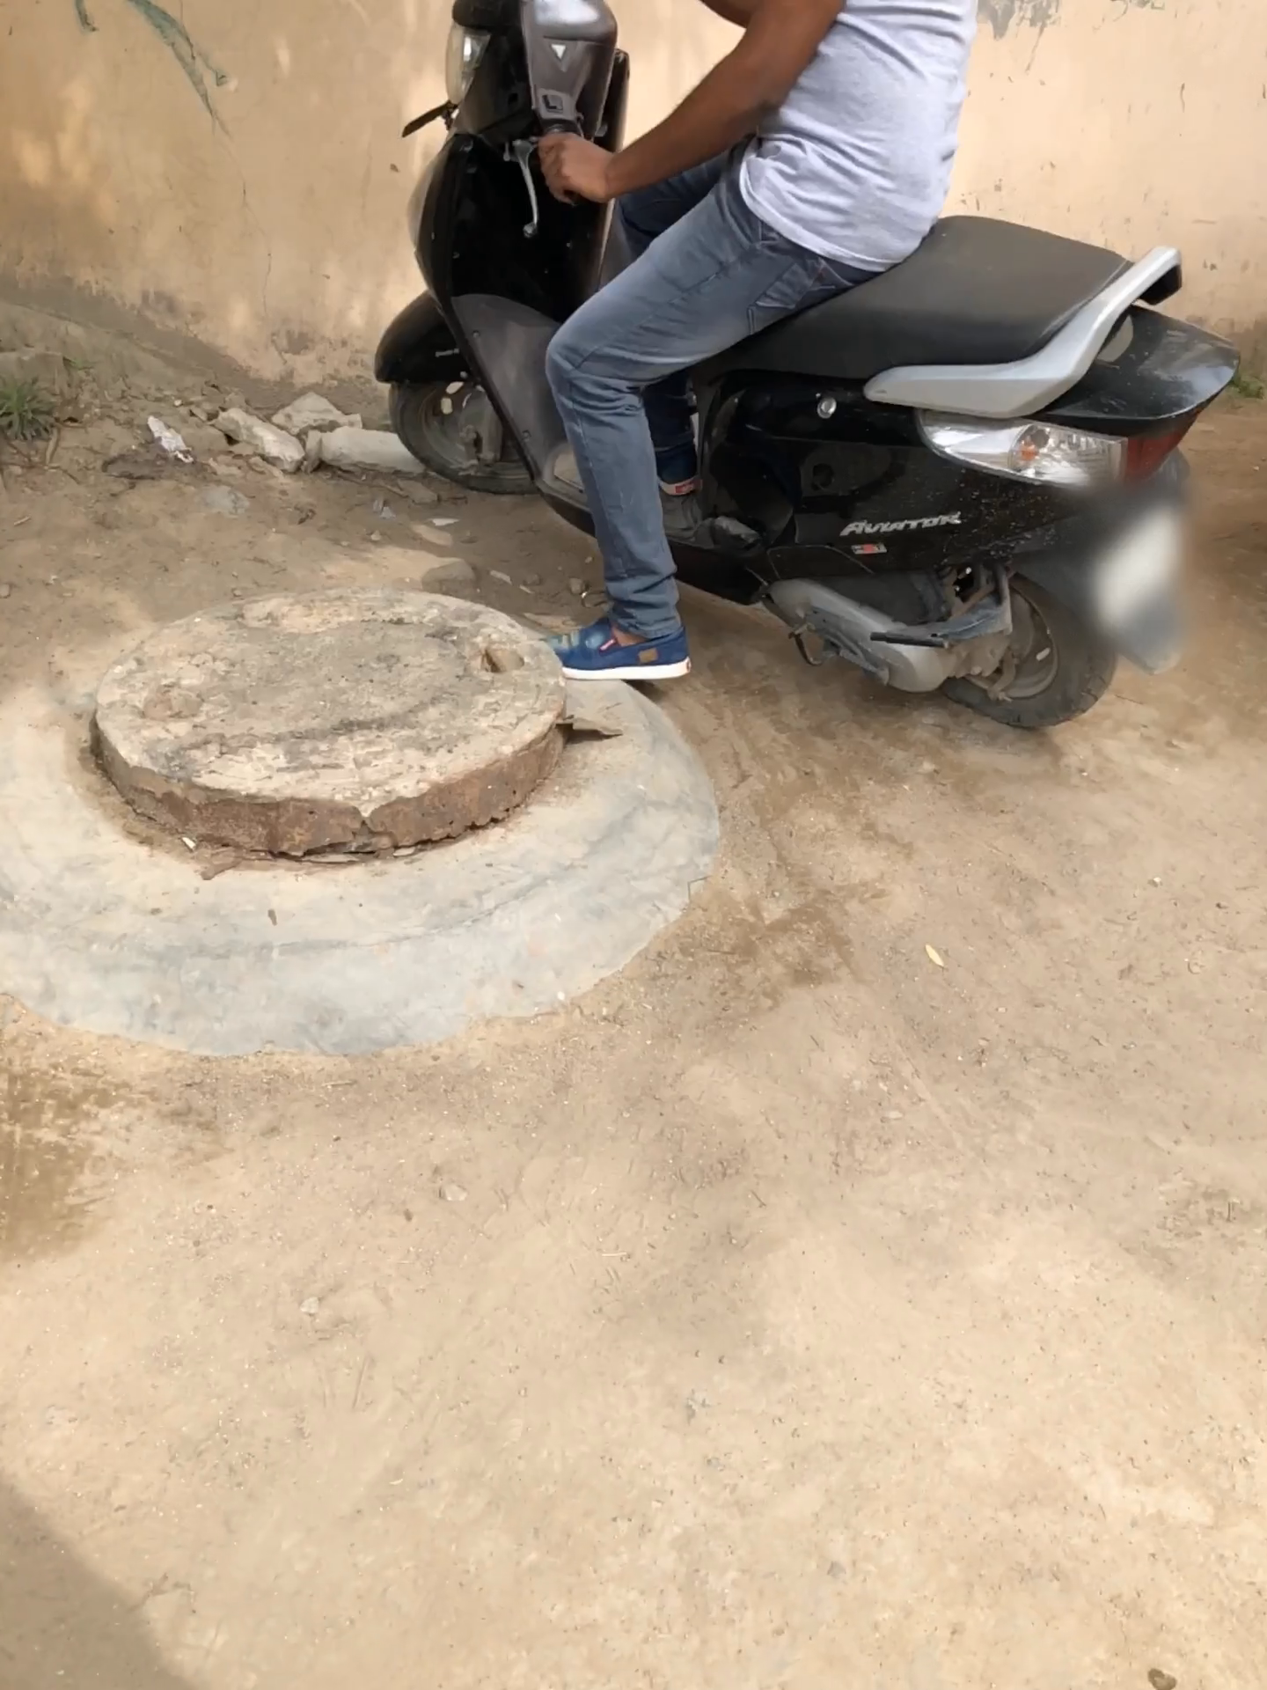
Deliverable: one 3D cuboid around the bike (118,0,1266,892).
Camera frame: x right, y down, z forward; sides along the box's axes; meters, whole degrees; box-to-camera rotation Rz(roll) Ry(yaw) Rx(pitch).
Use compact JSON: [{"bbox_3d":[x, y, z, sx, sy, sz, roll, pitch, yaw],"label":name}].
[{"bbox_3d":[0.036,-0.906,2.343,1.651,1.228,0.656,25,38,28],"label":"bike"}]
